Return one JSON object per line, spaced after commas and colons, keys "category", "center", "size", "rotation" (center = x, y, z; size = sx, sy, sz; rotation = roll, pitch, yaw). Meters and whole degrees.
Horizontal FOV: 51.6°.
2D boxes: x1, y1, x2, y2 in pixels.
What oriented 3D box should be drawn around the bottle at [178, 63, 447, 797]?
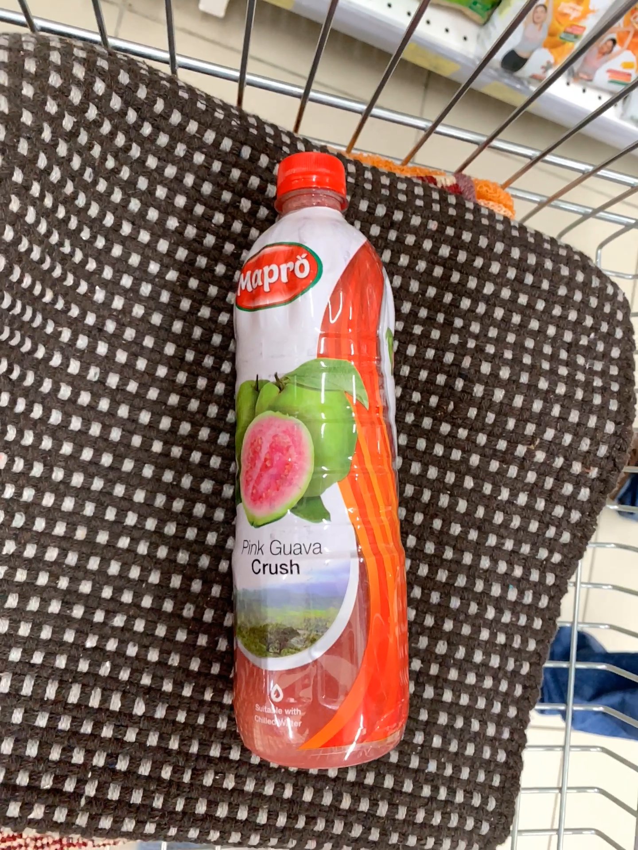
{"category": "bottle", "center": [-0.003, 0.000, 0.260], "size": [0.070, 0.070, 0.240], "rotation": [12, 73, -61]}
